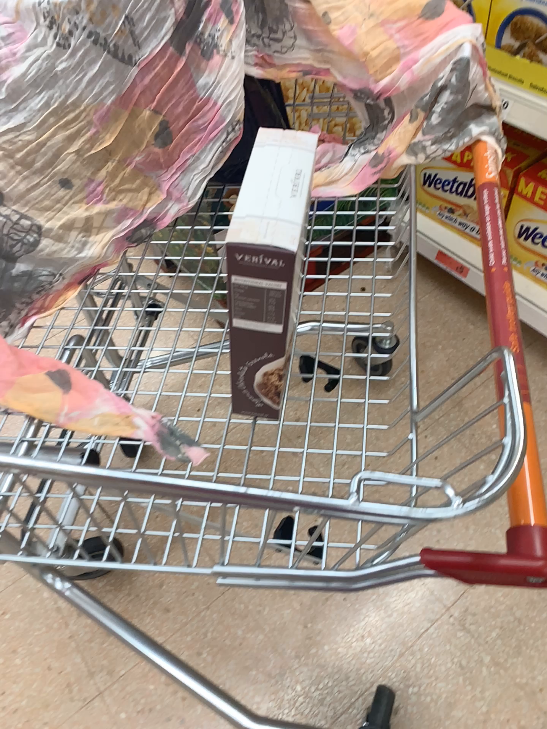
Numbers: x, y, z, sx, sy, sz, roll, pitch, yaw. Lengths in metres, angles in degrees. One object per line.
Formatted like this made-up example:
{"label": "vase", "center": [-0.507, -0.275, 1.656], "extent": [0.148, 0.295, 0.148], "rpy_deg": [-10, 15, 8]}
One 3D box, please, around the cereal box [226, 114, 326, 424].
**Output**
{"label": "cereal box", "center": [0.000, -0.069, 0.475], "extent": [0.050, 0.218, 0.141], "rpy_deg": [8, 53, 3]}
